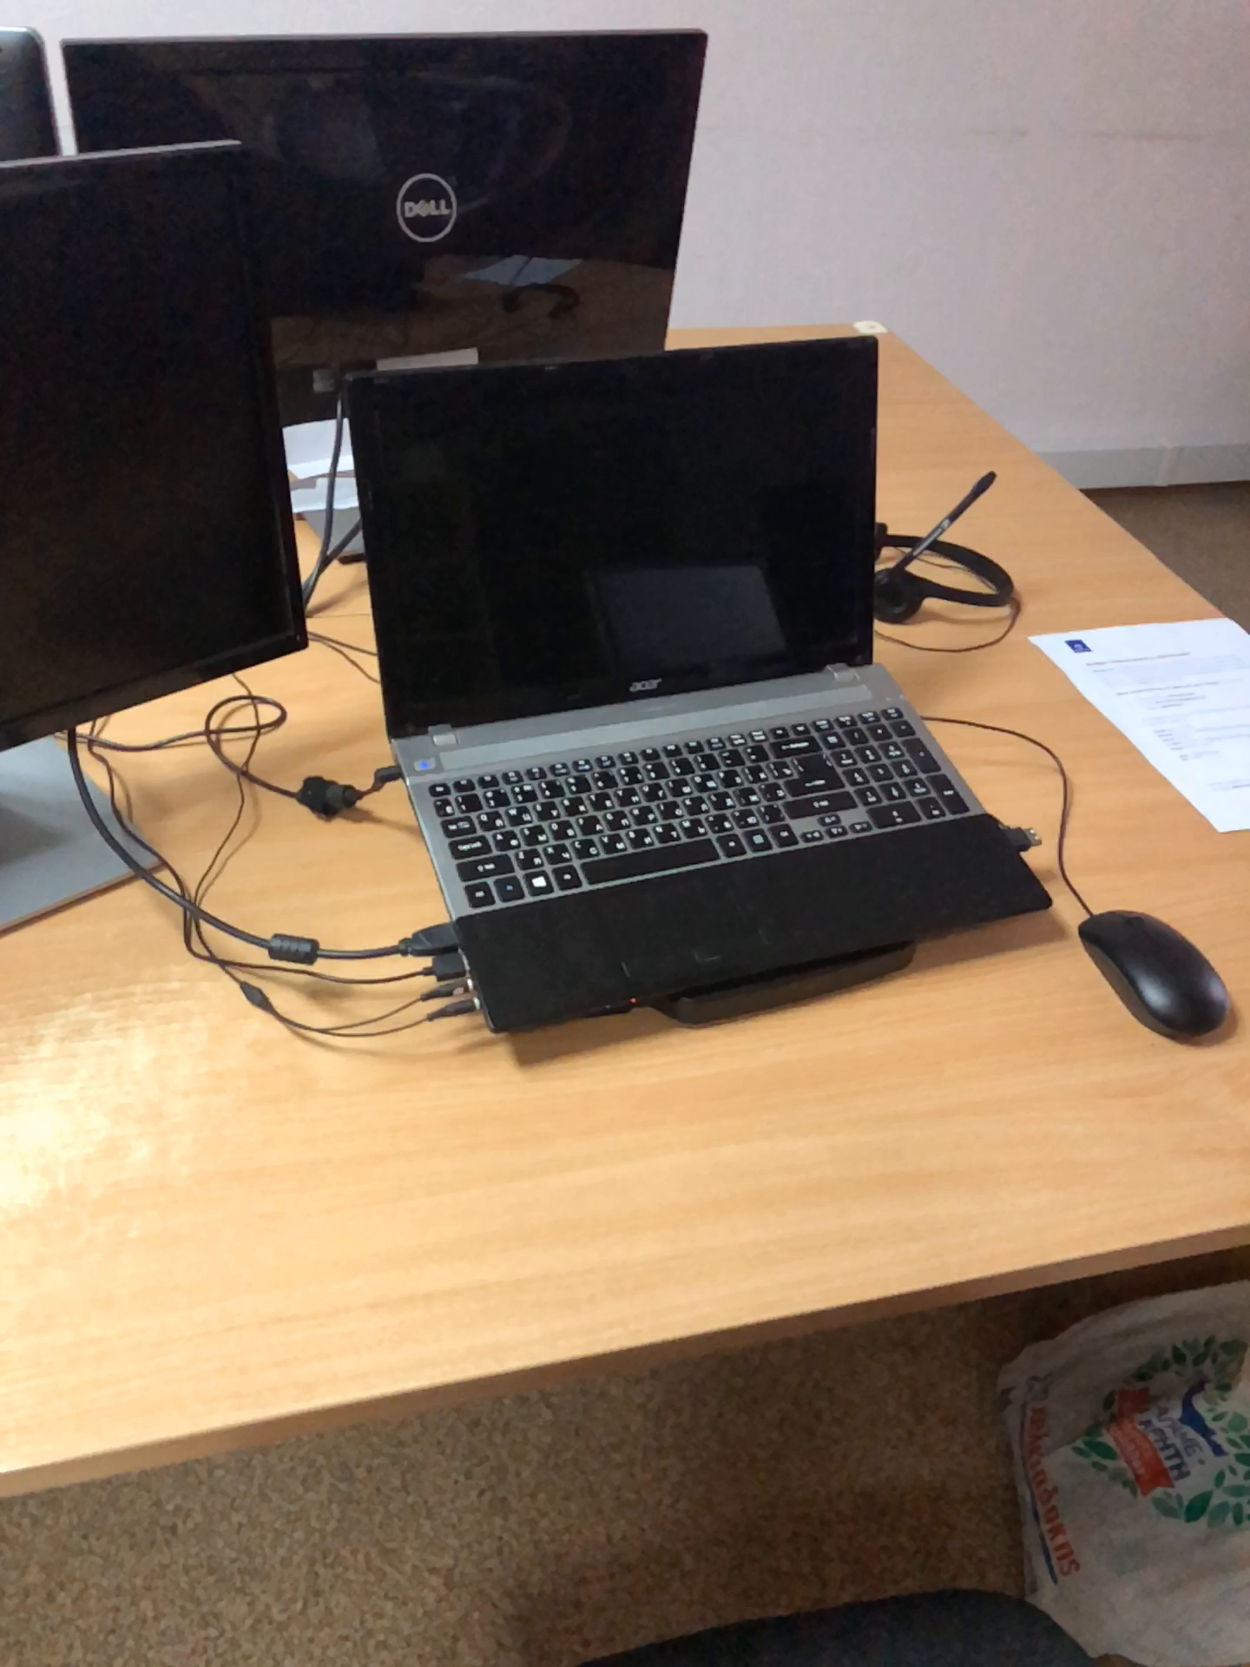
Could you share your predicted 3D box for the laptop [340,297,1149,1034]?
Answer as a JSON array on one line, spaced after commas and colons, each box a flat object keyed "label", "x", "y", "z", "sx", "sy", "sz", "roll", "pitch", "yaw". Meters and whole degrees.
[{"label": "laptop", "x": 0.048, "y": -0.133, "z": 0.867, "sx": 0.370, "sy": 0.215, "sz": 0.353, "roll": -11, "pitch": 47, "yaw": -18}]
